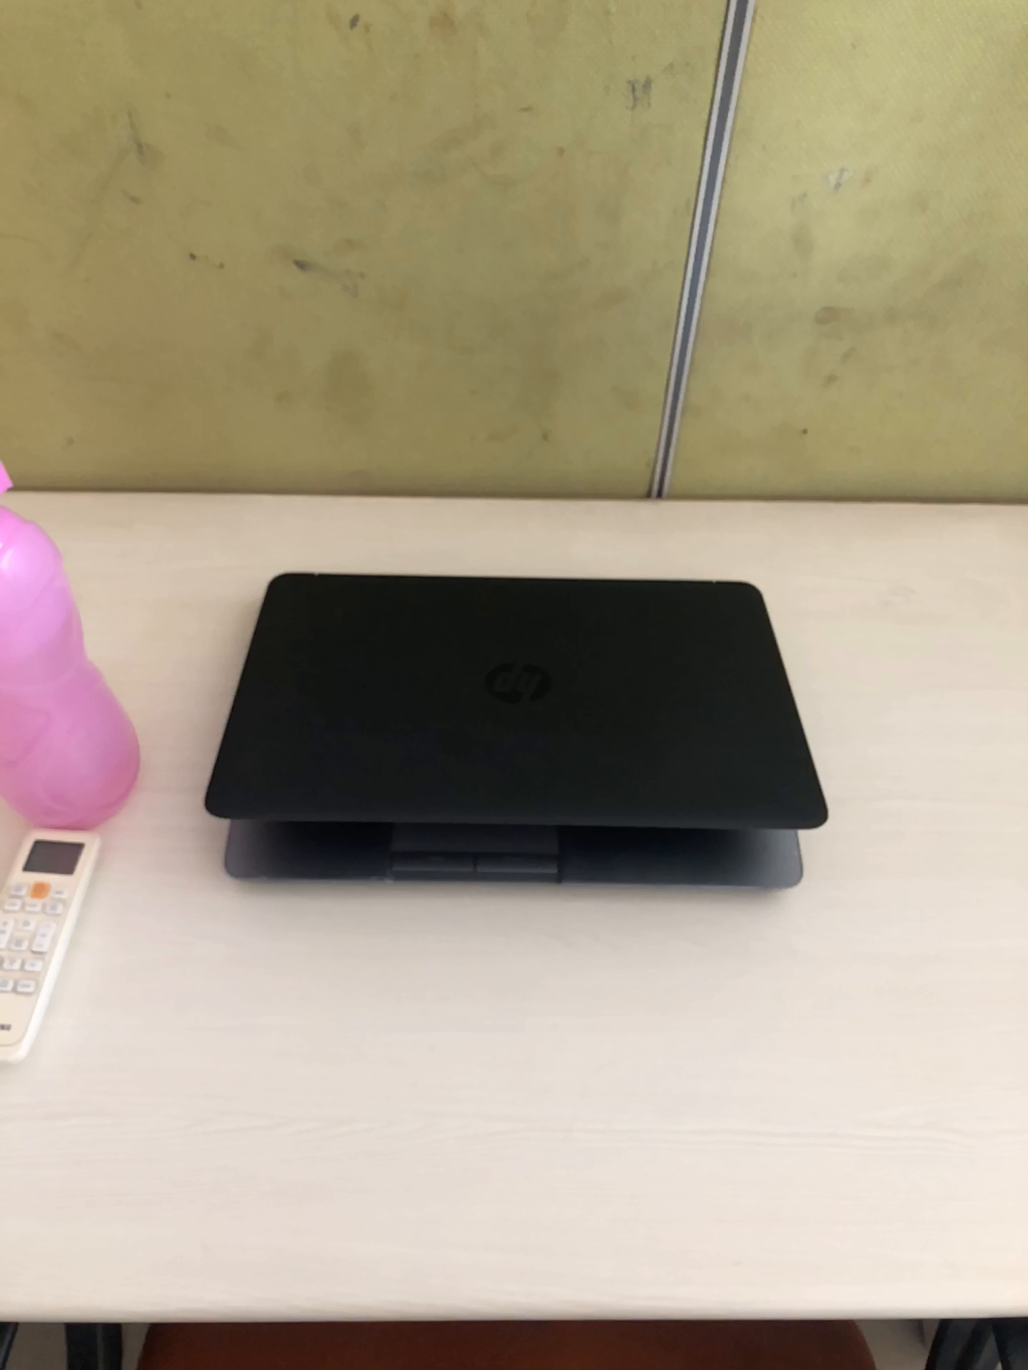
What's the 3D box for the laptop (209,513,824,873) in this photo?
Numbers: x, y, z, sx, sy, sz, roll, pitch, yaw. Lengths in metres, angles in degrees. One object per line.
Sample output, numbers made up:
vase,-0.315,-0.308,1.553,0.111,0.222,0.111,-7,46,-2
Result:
laptop,0.005,-0.003,0.698,0.330,0.050,0.227,1,54,0
